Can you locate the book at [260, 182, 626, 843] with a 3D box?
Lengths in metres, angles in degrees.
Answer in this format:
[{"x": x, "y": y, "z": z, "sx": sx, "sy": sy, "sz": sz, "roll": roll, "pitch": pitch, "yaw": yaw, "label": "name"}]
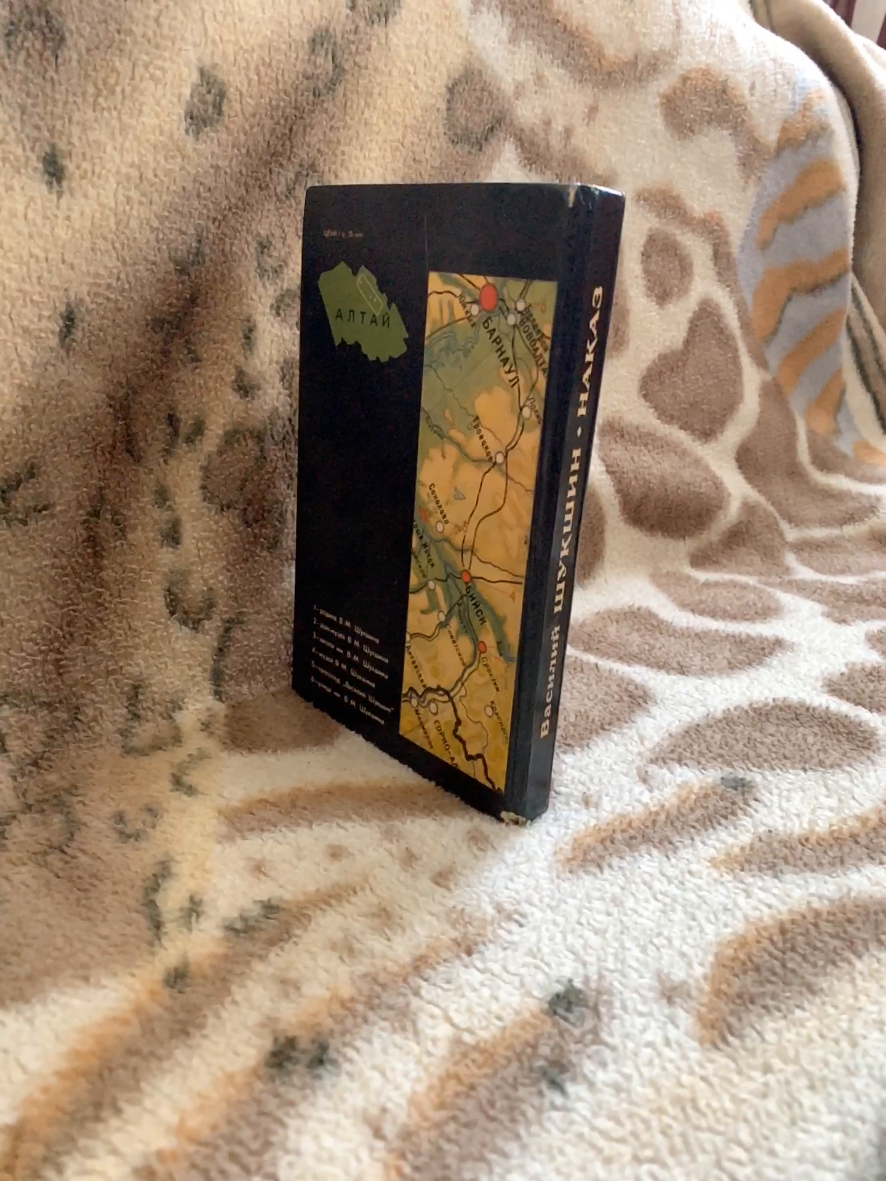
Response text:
[{"x": -0.013, "y": -0.033, "z": 0.322, "sx": 0.030, "sy": 0.199, "sz": 0.130, "roll": -13, "pitch": 27, "yaw": -42, "label": "book"}]
